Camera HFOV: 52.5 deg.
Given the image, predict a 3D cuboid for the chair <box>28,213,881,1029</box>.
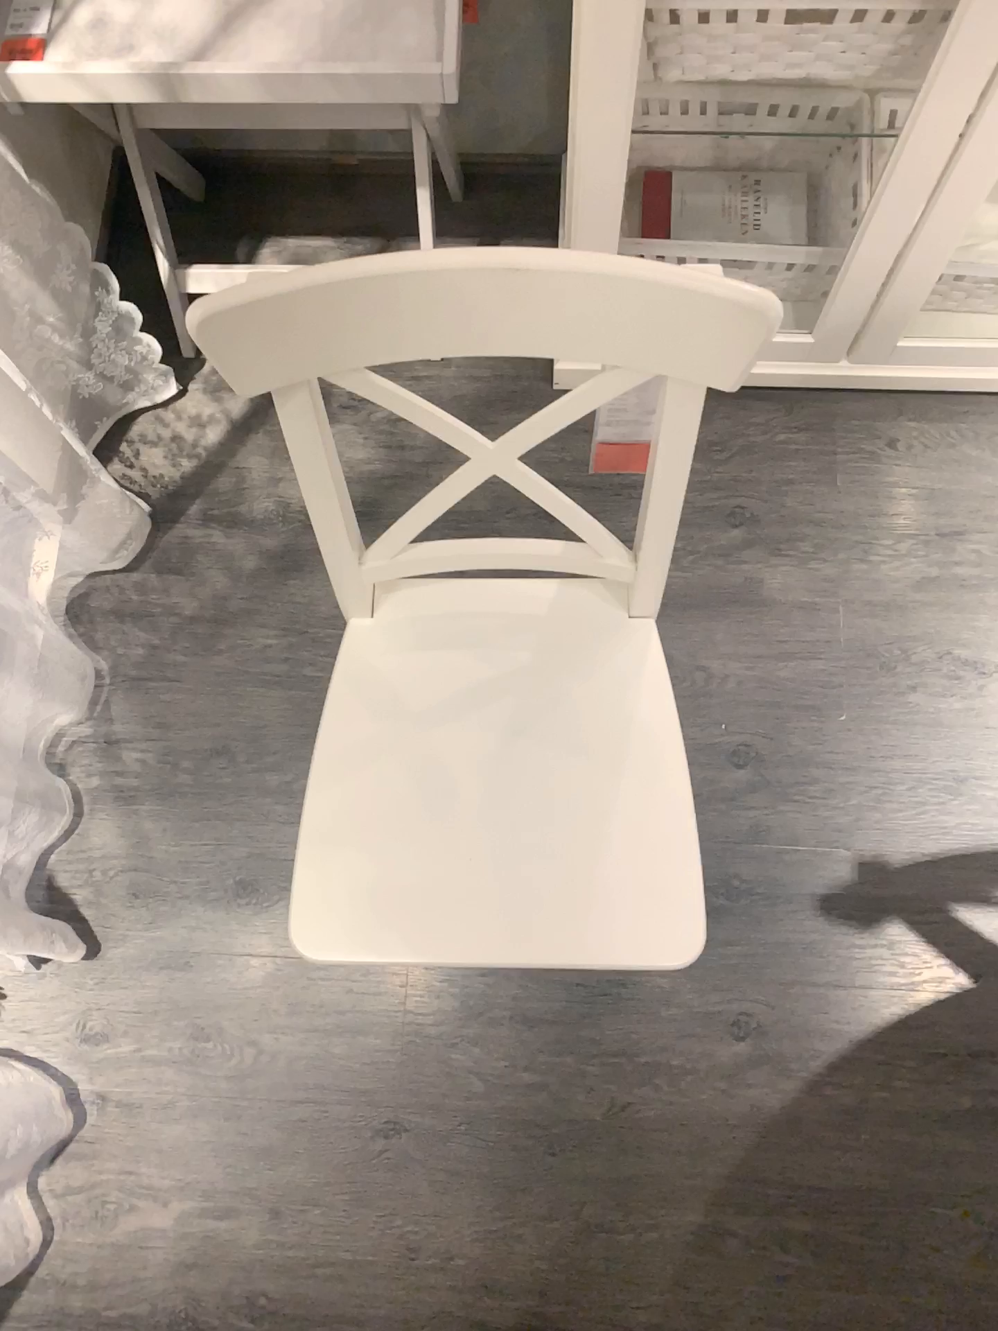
[{"bbox_3d":[-0.010,0.065,1.000,0.440,0.860,0.490,0,74,2],"label":"chair"}]
